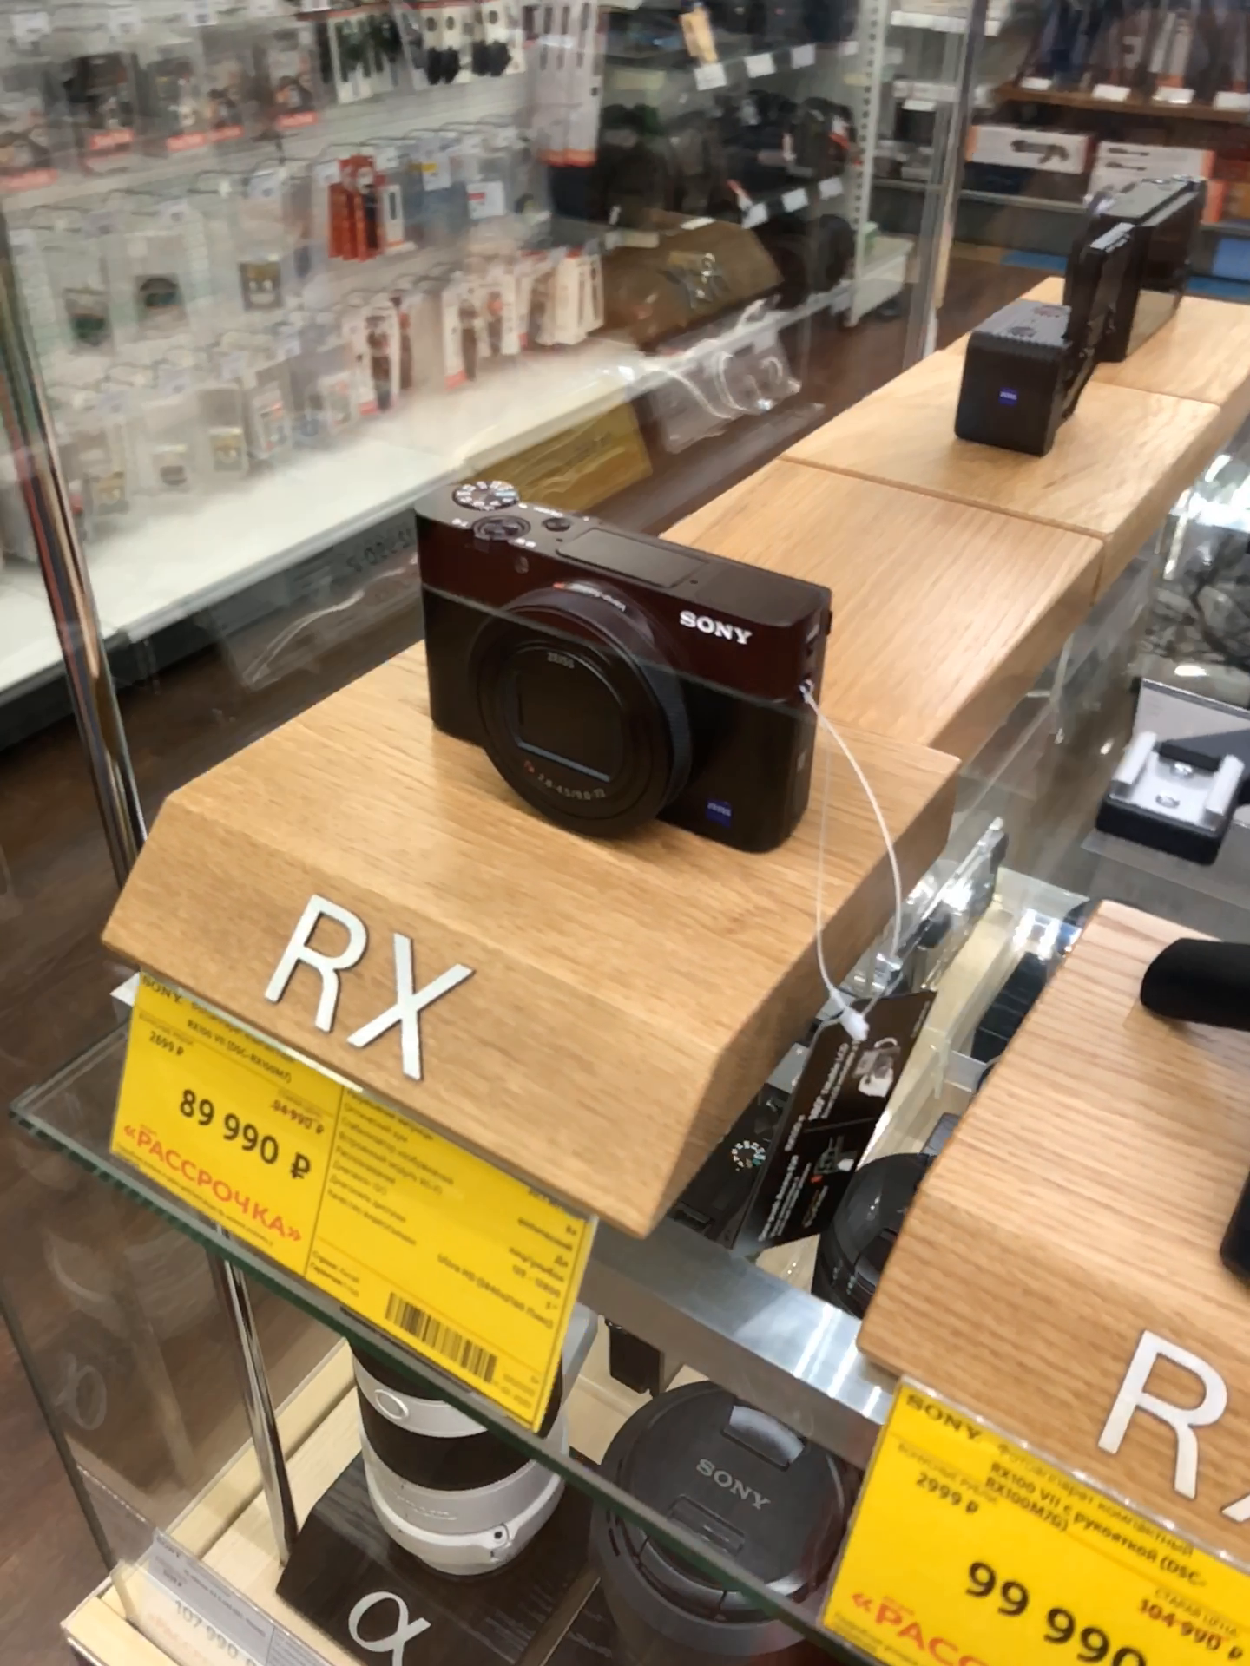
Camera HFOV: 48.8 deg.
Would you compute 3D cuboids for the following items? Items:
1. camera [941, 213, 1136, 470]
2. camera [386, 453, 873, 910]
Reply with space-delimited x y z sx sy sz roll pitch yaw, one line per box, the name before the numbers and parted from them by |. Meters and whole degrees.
camera | 0.144 -0.173 0.484 0.040 0.070 0.052 20 40 25
camera | -0.001 -0.038 0.319 0.100 0.070 0.040 22 41 26
